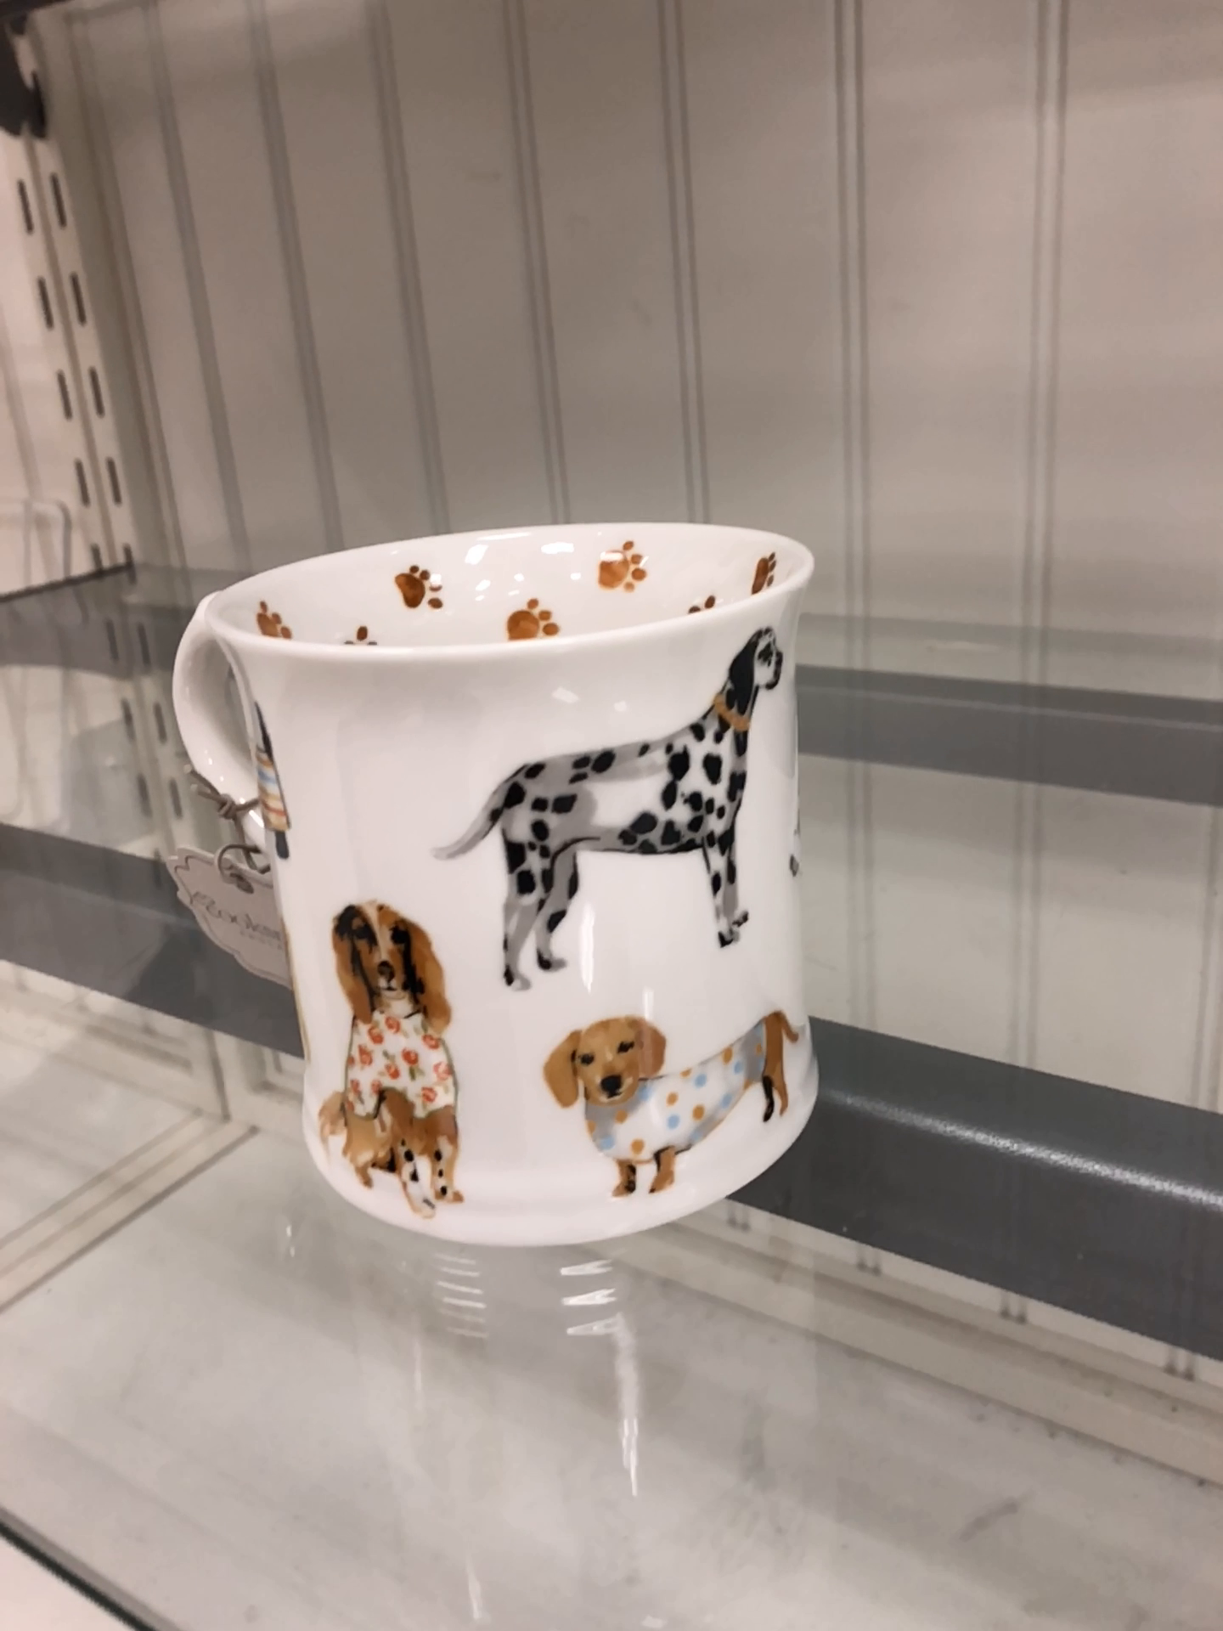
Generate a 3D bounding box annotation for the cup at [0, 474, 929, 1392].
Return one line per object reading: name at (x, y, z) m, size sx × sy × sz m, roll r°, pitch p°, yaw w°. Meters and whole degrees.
cup at (-0.030, -0.001, 0.222) m, size 0.125 × 0.089 × 0.100 m, roll 15°, pitch 28°, yaw 42°
